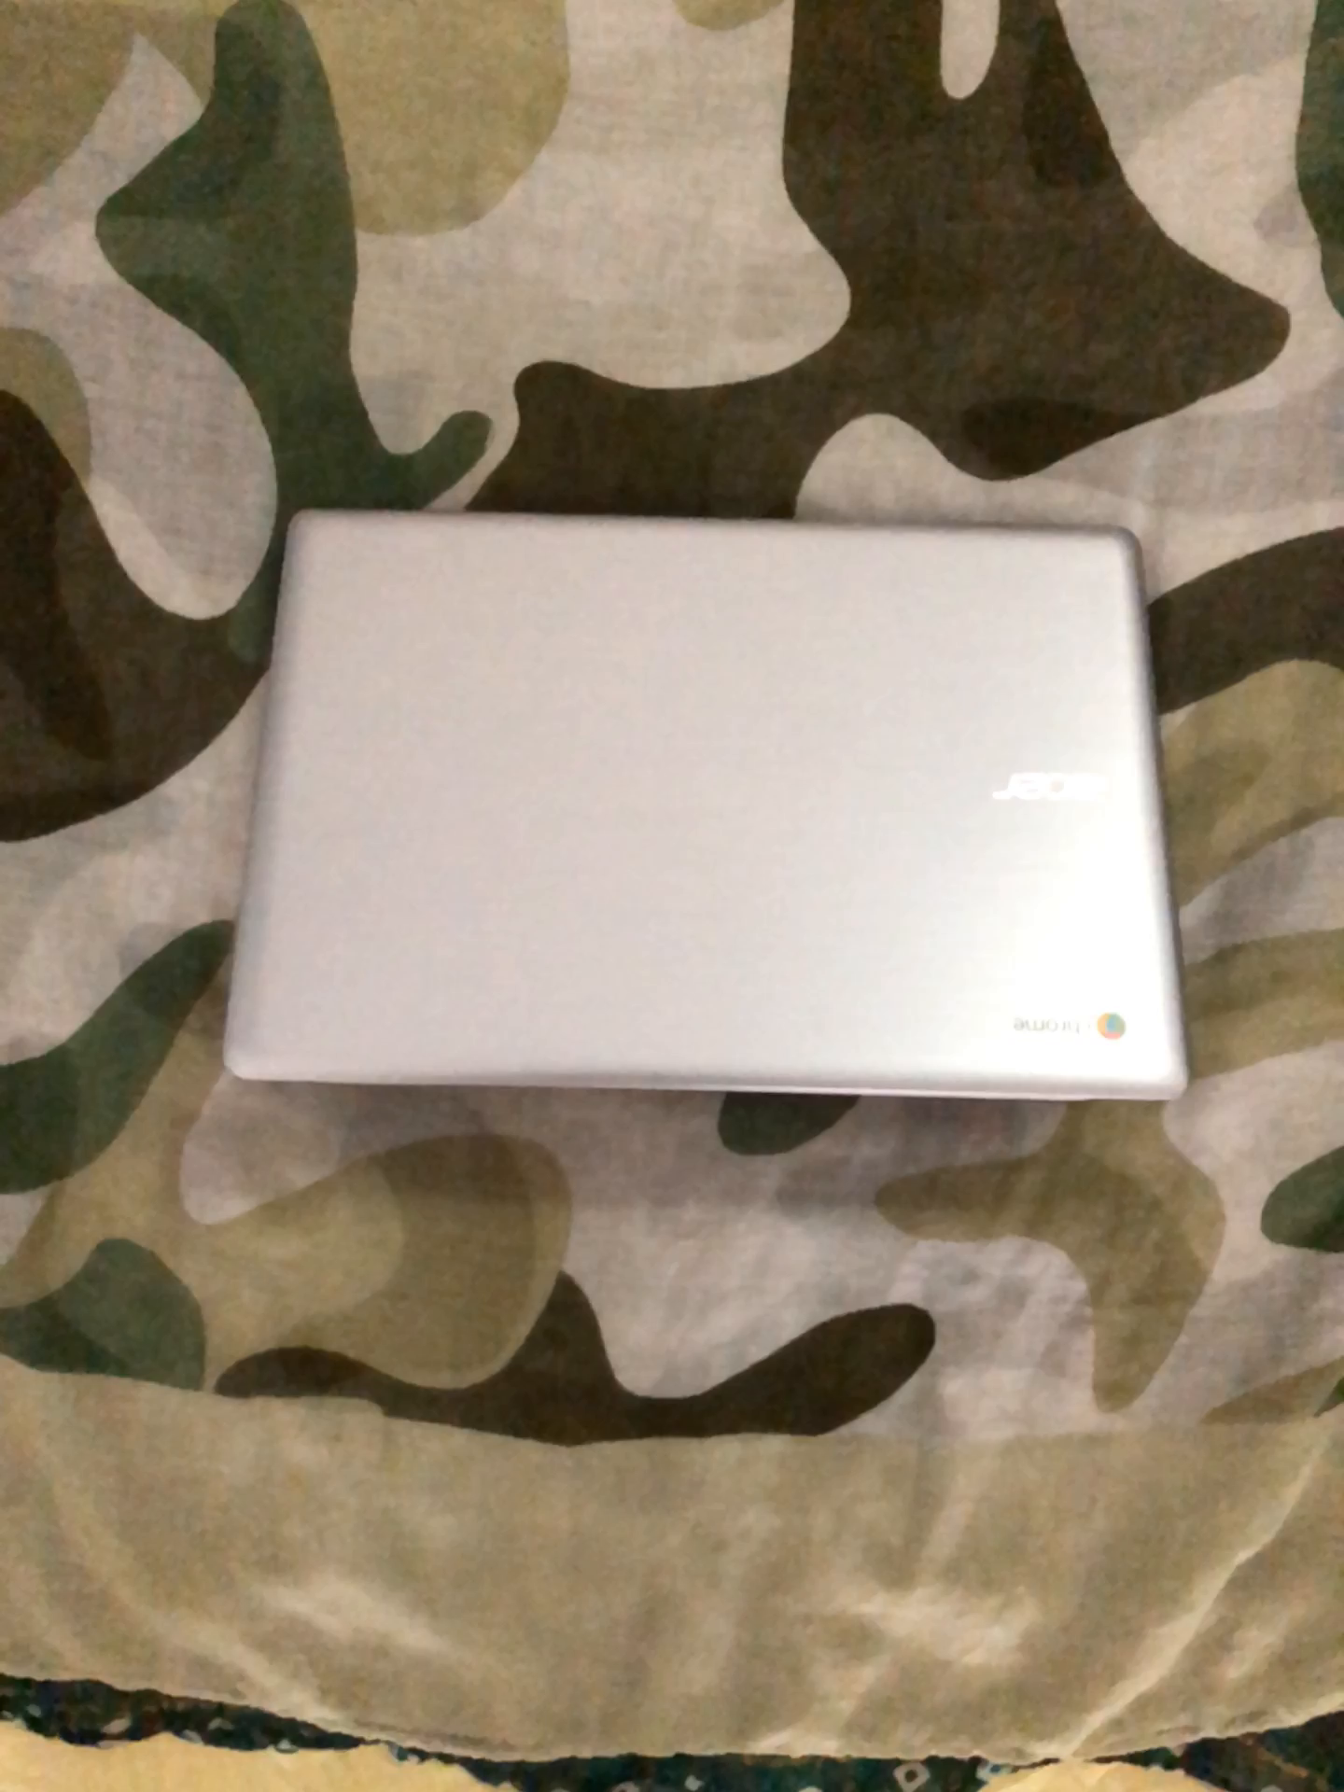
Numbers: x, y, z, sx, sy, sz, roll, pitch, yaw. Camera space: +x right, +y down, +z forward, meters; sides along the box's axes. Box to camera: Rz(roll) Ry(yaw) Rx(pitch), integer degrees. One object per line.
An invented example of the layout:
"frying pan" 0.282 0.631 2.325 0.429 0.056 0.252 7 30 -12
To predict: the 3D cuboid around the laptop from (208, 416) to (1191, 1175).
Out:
"laptop" 0.008 -0.040 0.536 0.311 0.125 0.232 1 91 0
